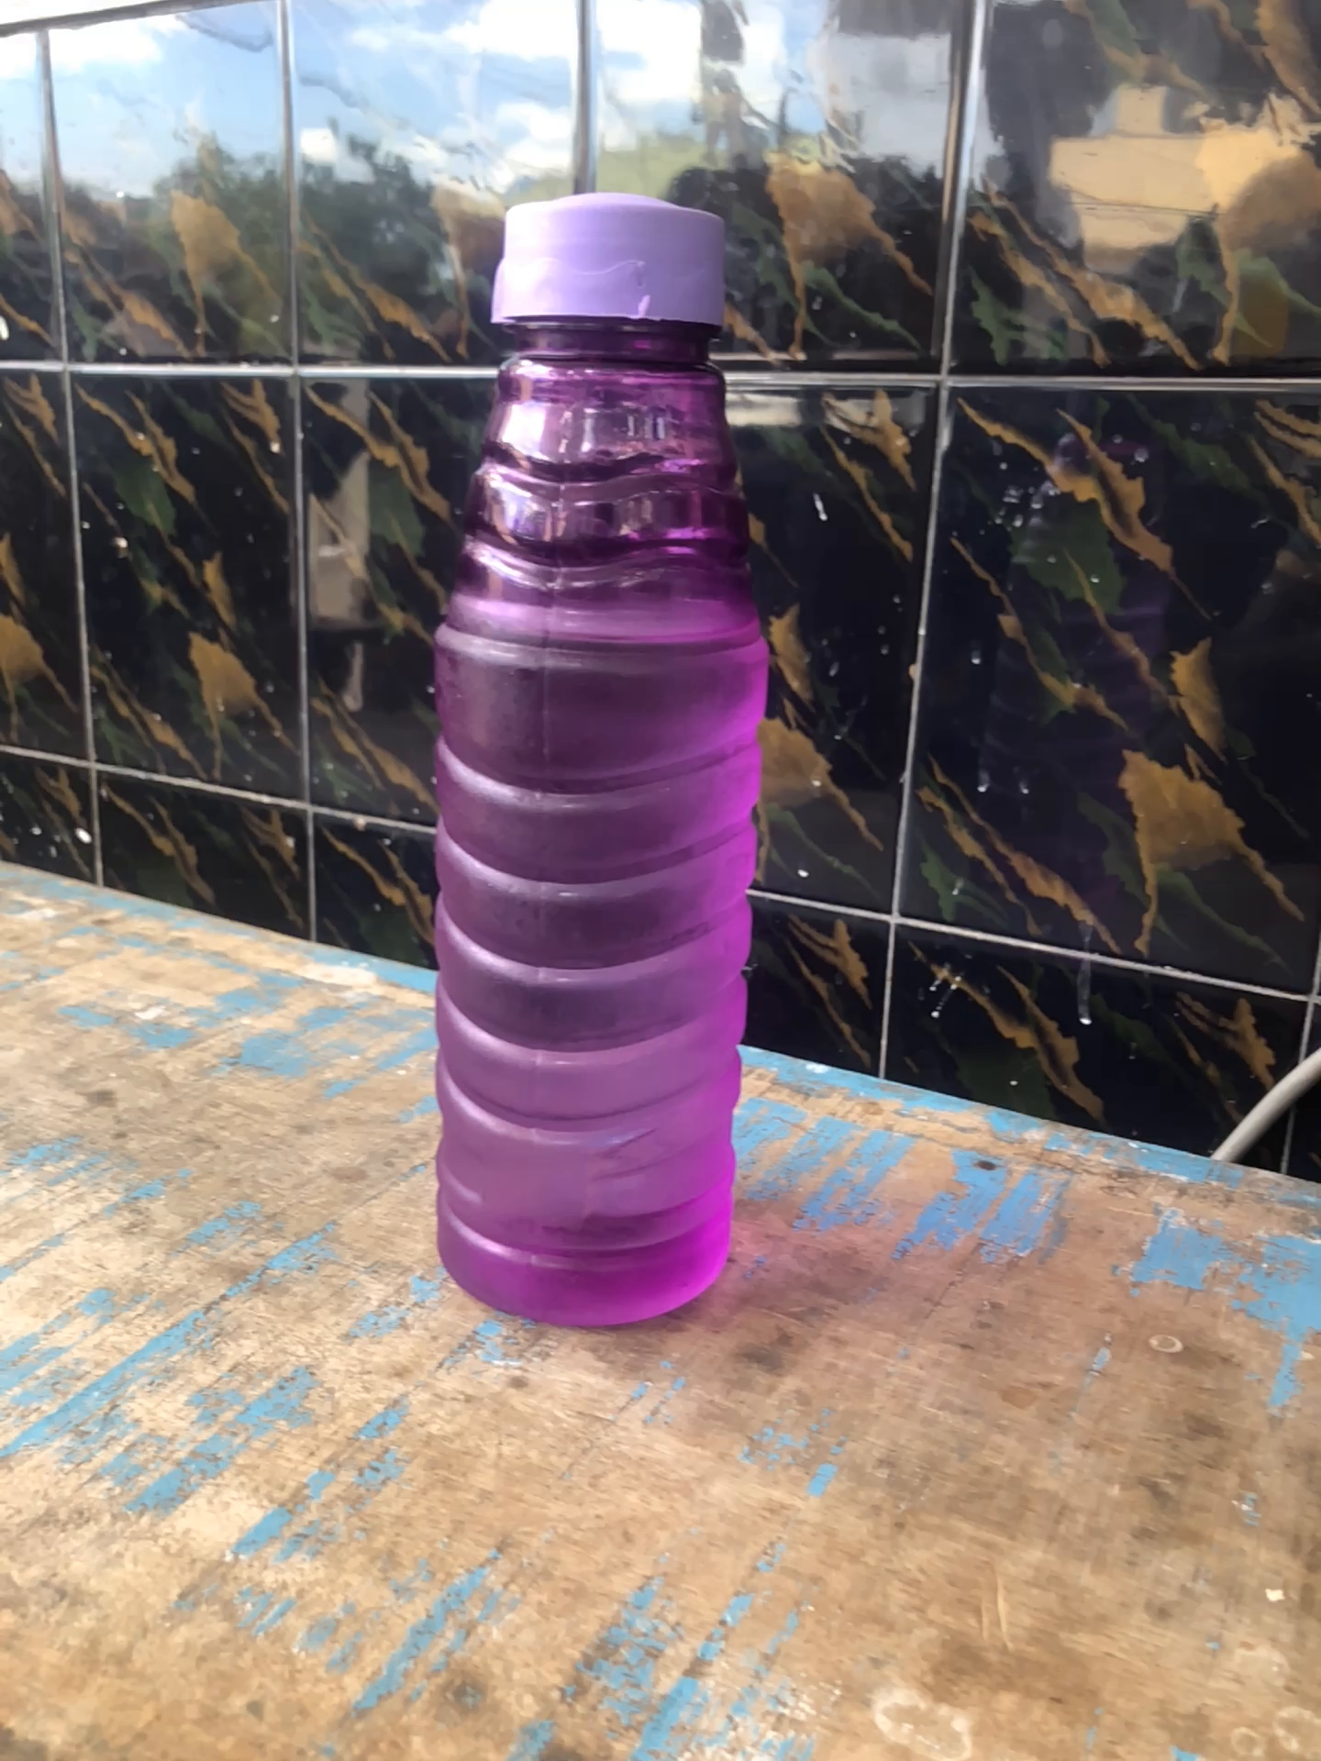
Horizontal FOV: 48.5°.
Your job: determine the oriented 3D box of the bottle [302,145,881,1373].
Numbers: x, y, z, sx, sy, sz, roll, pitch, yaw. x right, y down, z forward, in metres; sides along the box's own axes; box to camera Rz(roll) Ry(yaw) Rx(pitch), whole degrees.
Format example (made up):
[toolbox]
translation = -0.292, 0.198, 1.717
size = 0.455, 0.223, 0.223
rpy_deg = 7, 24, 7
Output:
[bottle]
translation = -0.017, -0.027, 0.338
size = 0.090, 0.239, 0.080
rpy_deg = 14, 20, 38
